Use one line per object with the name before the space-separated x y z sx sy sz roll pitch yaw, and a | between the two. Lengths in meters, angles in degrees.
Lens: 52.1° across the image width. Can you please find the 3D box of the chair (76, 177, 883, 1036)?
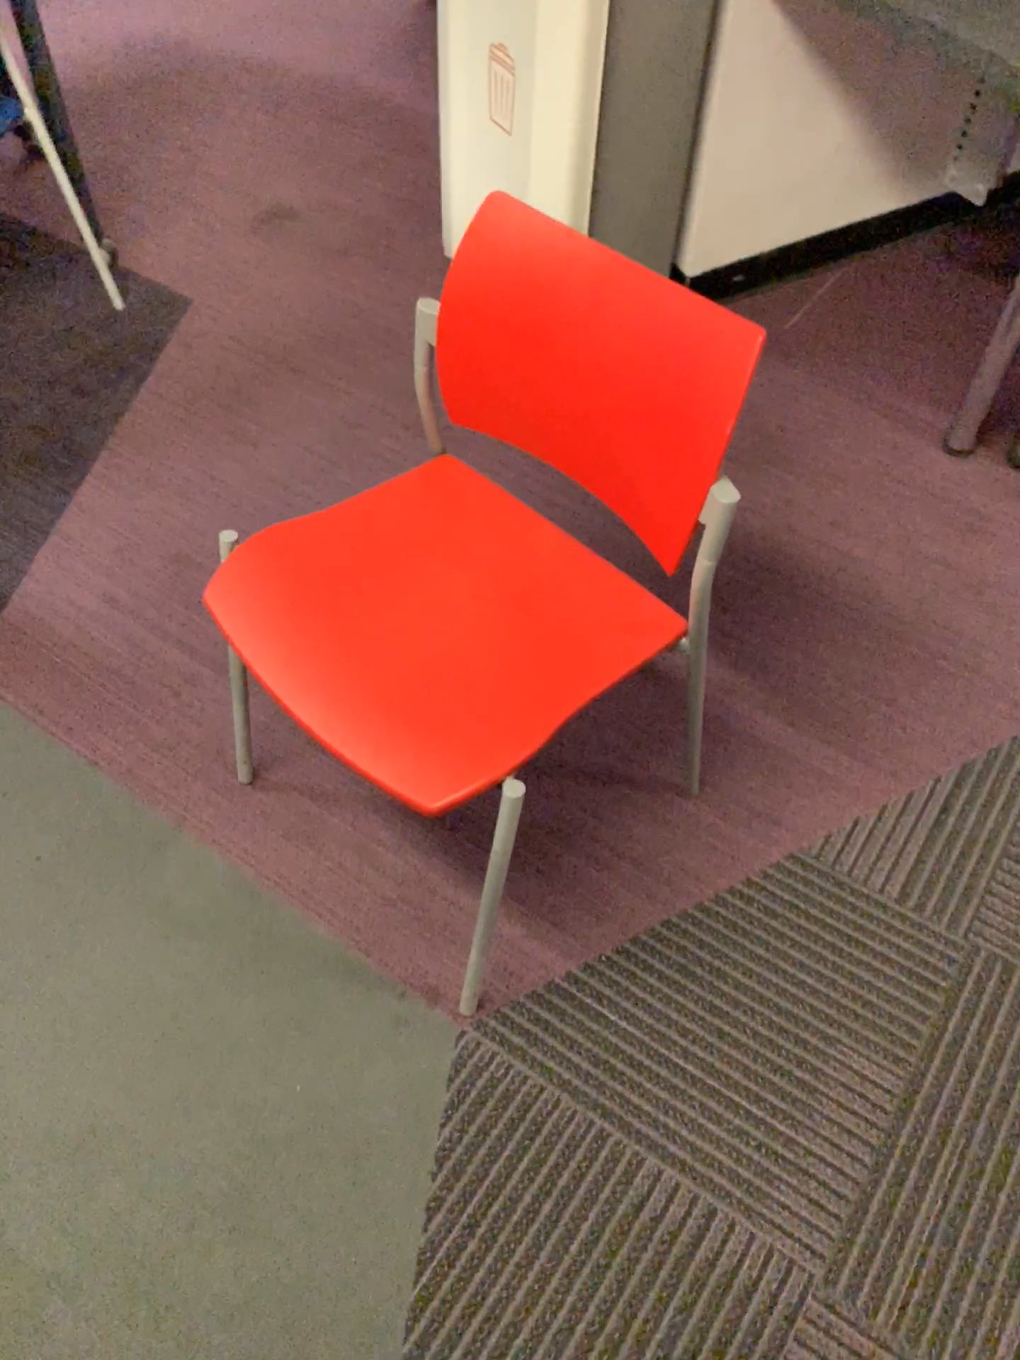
chair | -0.034 -0.089 1.259 0.562 0.684 0.543 -33 56 -25
